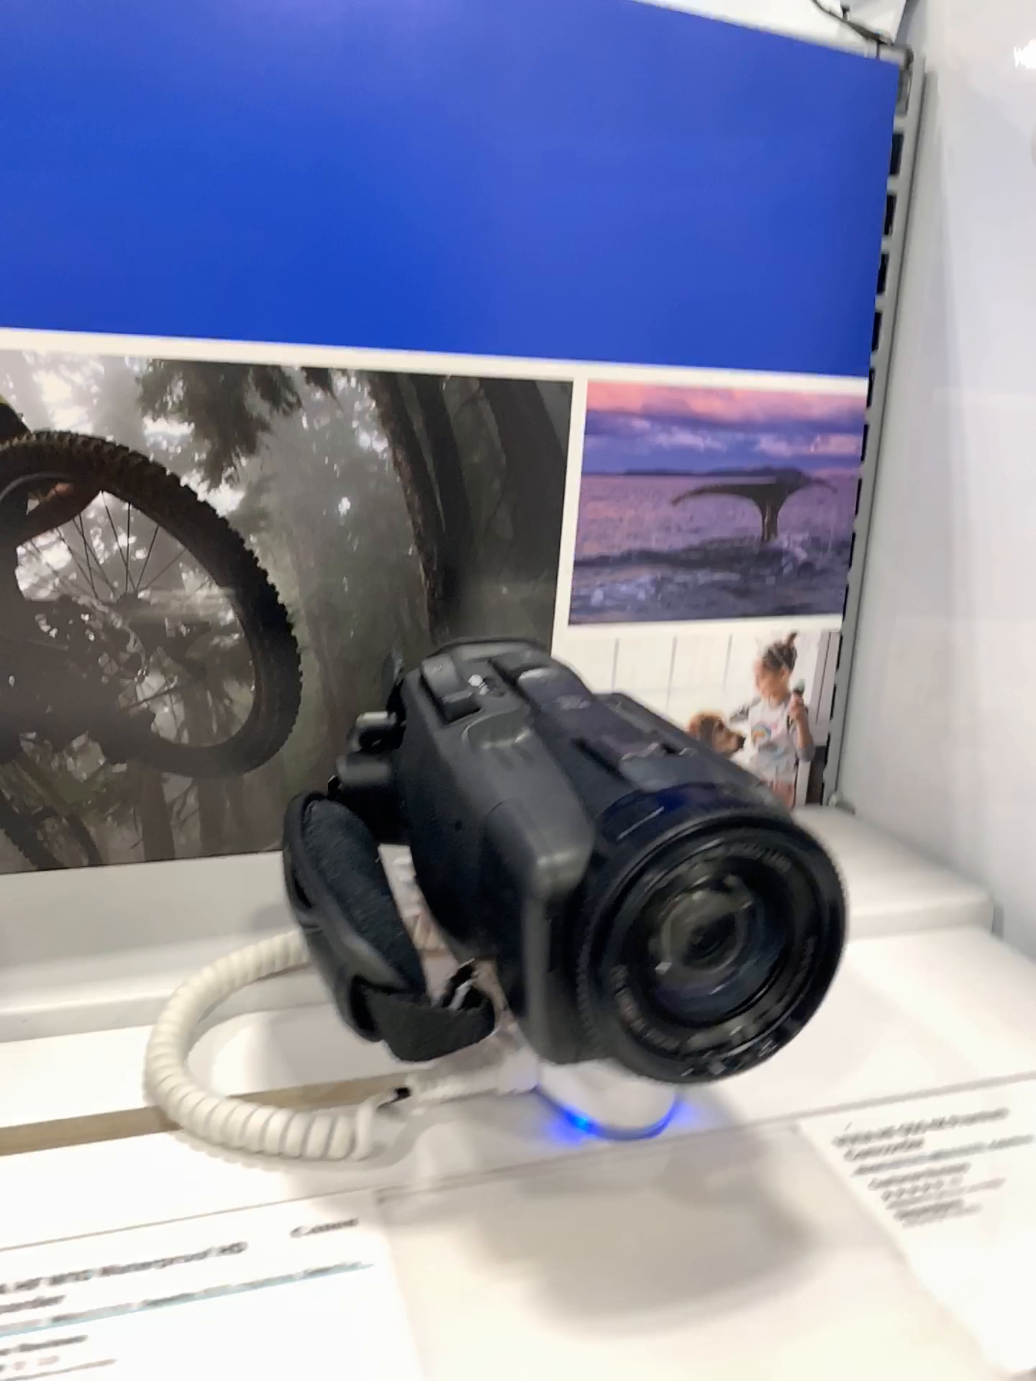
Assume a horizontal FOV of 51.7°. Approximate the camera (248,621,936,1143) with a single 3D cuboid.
[{"bbox_3d":[-0.002,0.031,0.321,0.131,0.069,0.201,-2,14,-20],"label":"camera"}]
